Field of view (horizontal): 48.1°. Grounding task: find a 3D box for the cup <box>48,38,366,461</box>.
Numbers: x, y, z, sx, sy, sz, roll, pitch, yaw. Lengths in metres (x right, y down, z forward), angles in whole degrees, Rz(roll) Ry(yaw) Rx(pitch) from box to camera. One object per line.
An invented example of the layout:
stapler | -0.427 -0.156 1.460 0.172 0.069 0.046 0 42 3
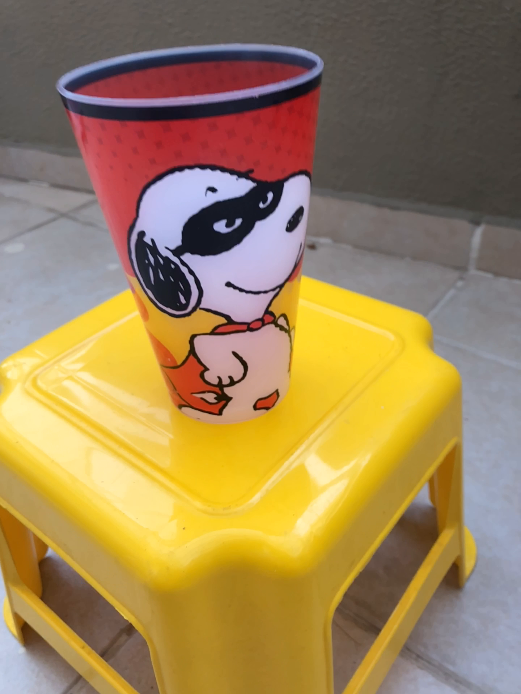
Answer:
cup | -0.025 -0.049 0.264 0.100 0.139 0.111 -14 36 -12
